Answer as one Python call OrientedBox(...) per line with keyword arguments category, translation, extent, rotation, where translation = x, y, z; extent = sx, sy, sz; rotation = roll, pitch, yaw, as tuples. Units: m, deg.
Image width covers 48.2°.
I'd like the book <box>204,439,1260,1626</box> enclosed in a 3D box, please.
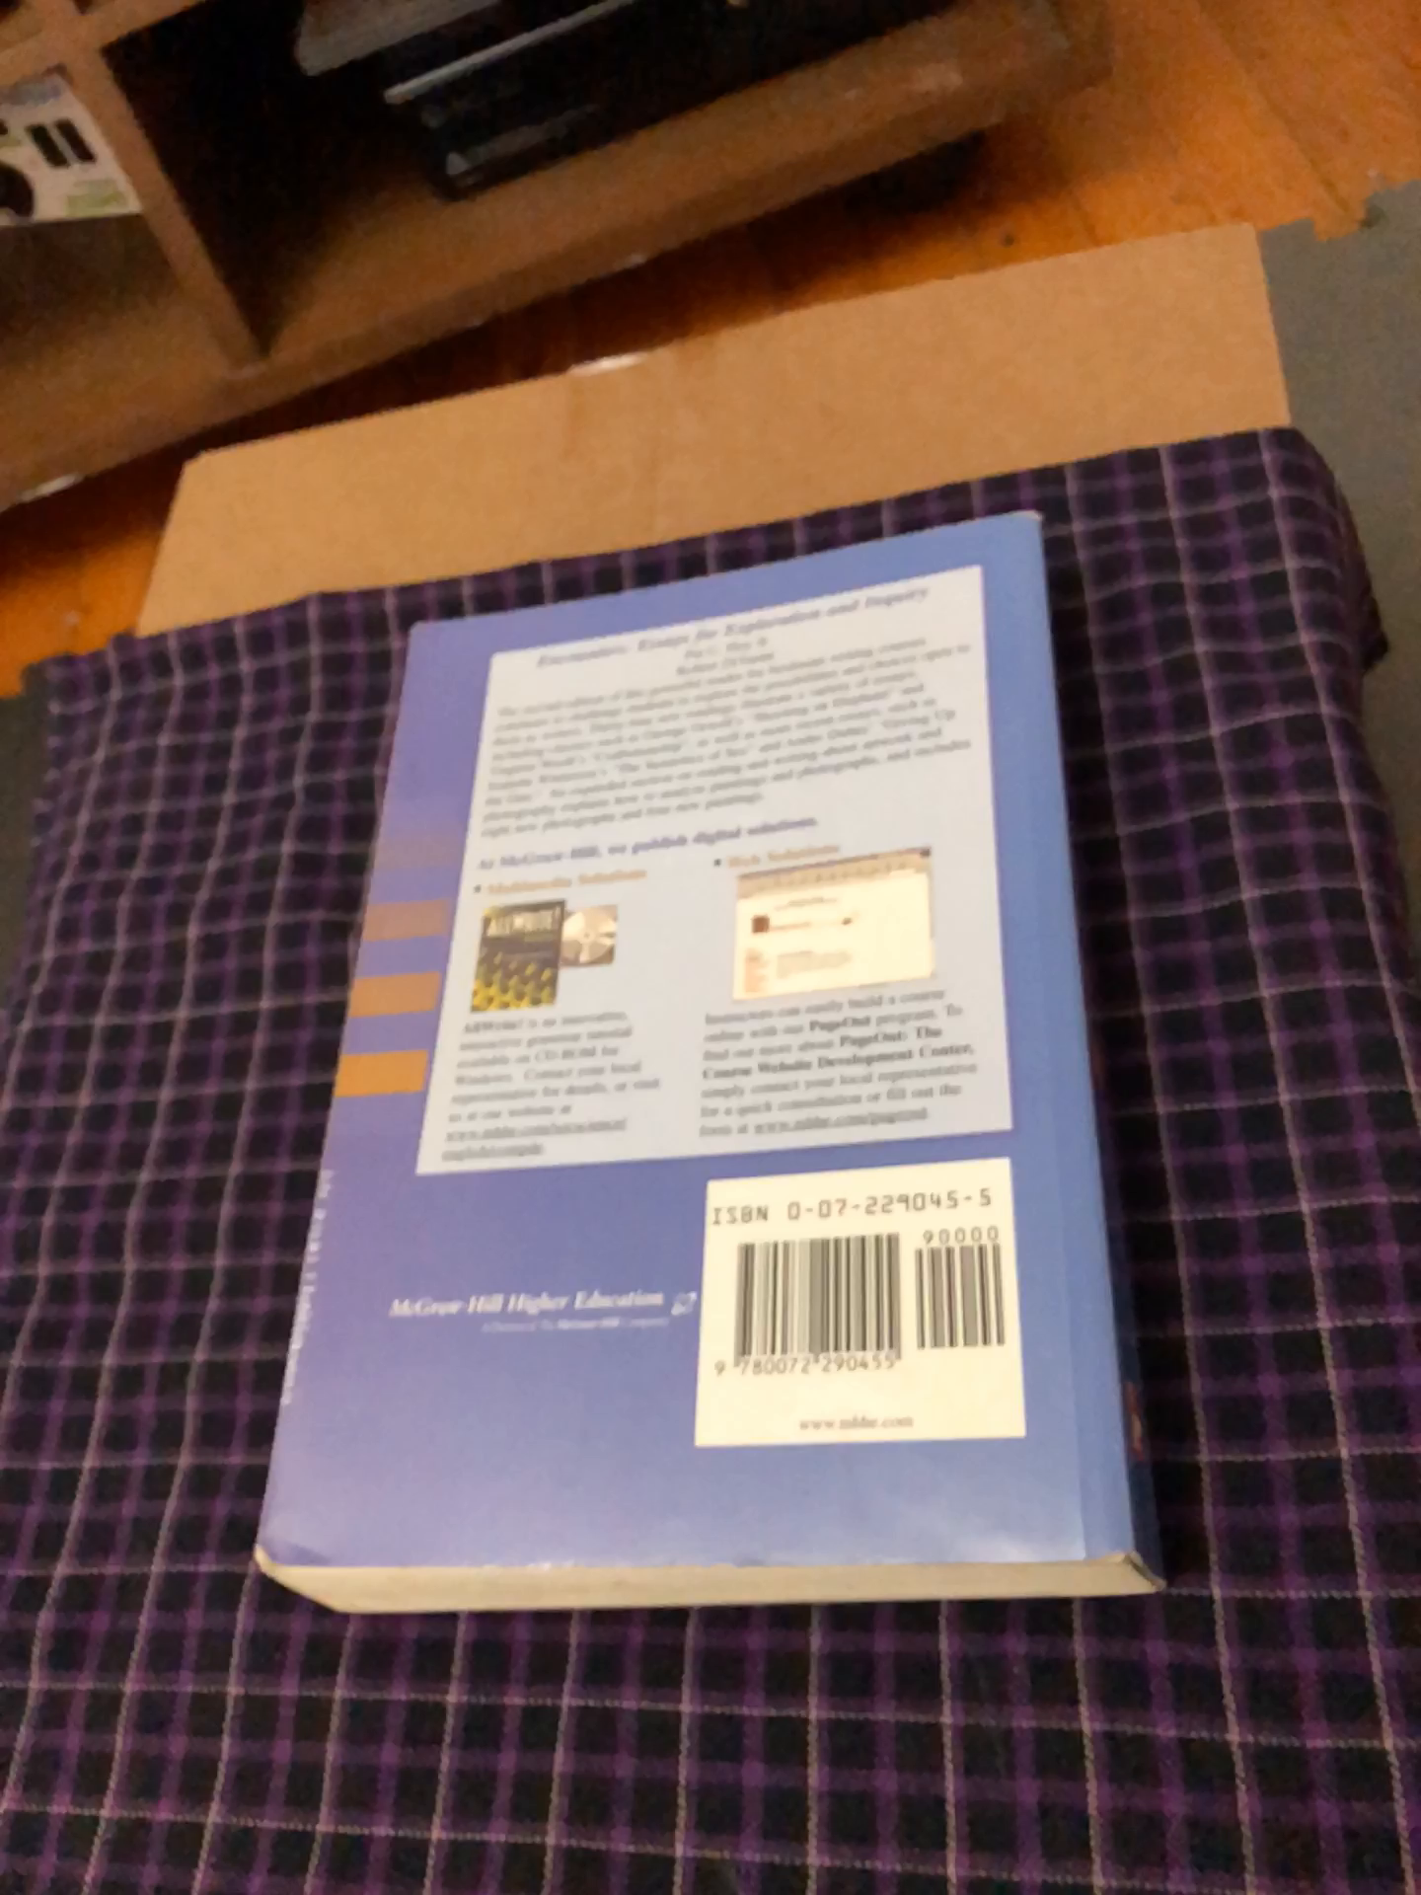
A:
OrientedBox(category="book", translation=(0.003, 0.010, 0.339), extent=(0.180, 0.040, 0.241), rotation=(-8, 58, 15))
